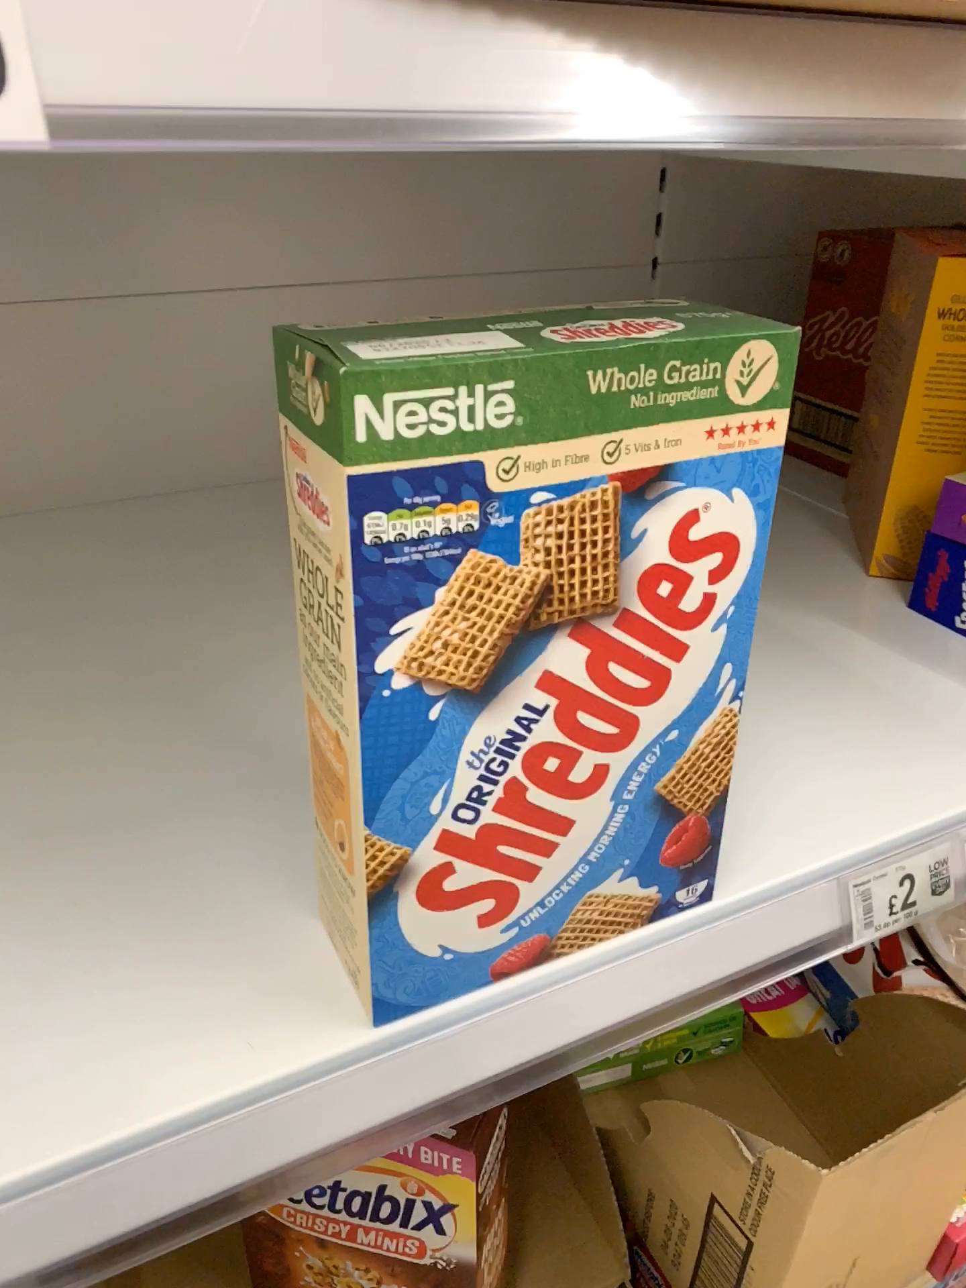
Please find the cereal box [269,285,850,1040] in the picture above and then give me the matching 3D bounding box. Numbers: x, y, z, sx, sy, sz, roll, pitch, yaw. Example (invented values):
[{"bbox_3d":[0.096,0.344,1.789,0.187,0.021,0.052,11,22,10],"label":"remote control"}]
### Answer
[{"bbox_3d":[0.028,0.006,0.432,0.201,0.287,0.081,-12,31,-24],"label":"cereal box"}]
